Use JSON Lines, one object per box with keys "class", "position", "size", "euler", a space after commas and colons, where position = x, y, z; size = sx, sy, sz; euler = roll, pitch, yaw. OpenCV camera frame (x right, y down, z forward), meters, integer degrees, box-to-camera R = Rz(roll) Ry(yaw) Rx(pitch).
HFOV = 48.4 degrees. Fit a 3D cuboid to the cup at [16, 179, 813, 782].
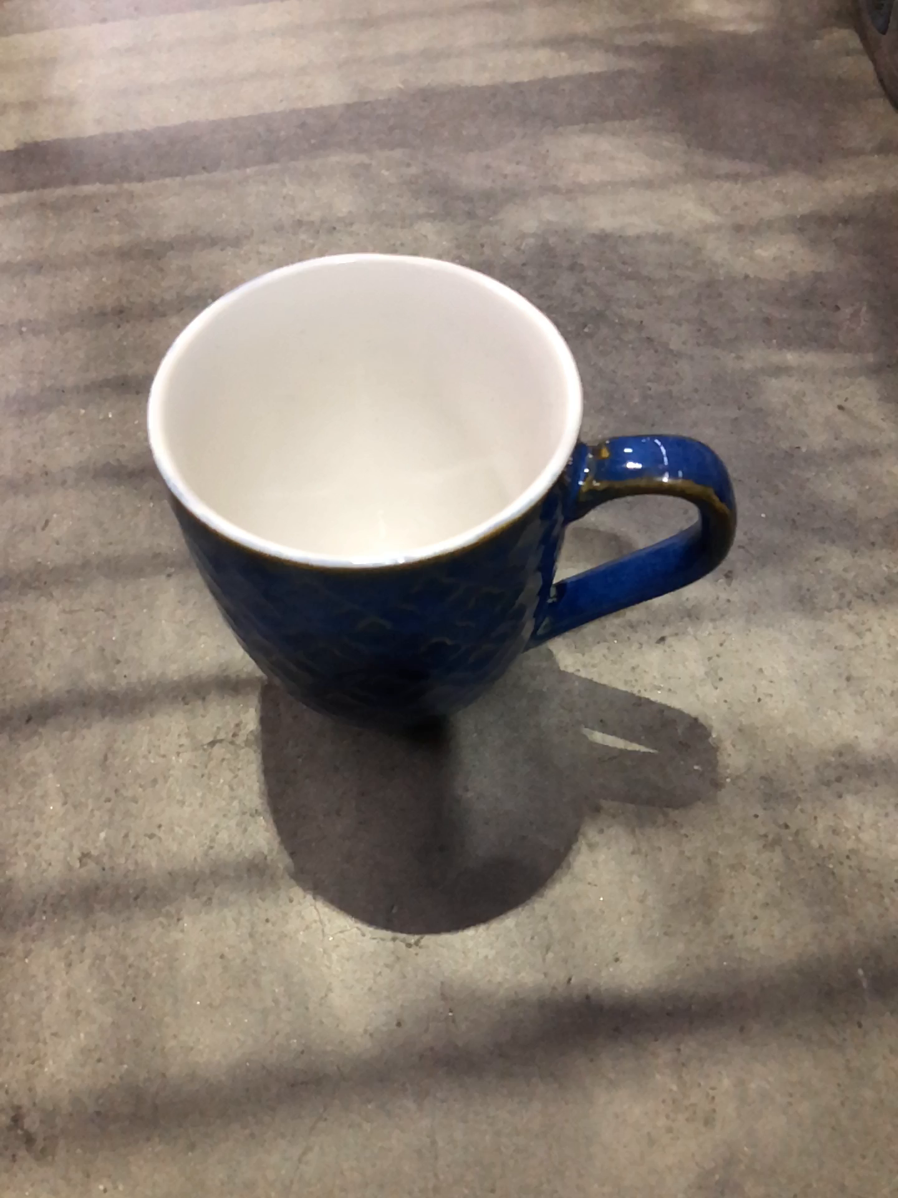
{"class": "cup", "position": [-0.001, -0.022, 0.187], "size": [0.110, 0.070, 0.080], "euler": [4, 57, 6]}
